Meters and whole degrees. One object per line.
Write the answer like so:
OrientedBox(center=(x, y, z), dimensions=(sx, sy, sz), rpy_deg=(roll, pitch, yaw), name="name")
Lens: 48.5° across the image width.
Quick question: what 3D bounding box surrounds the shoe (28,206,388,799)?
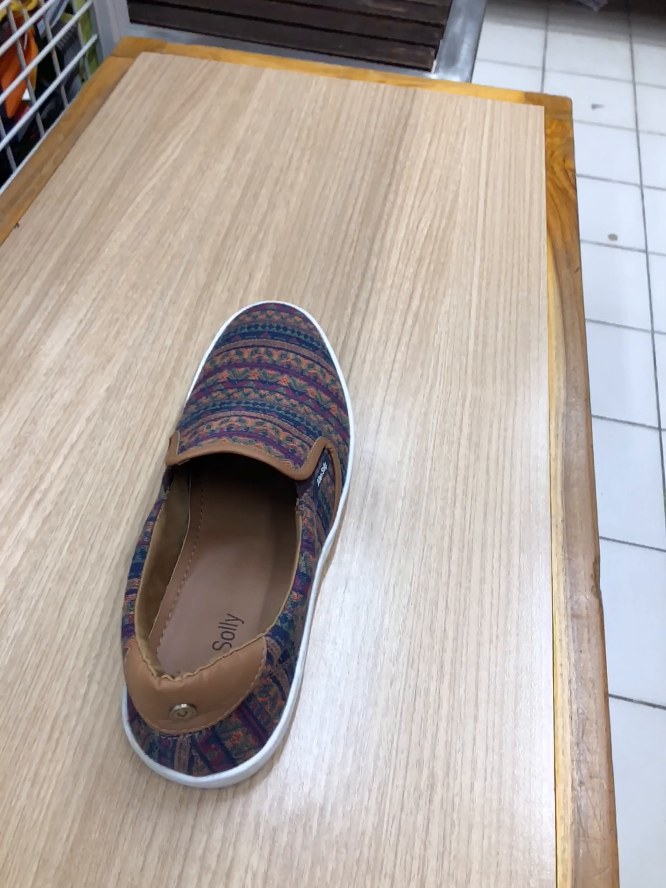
OrientedBox(center=(-0.037, 0.009, 0.358), dimensions=(0.100, 0.090, 0.271), rpy_deg=(7, 52, 1), name="shoe")
